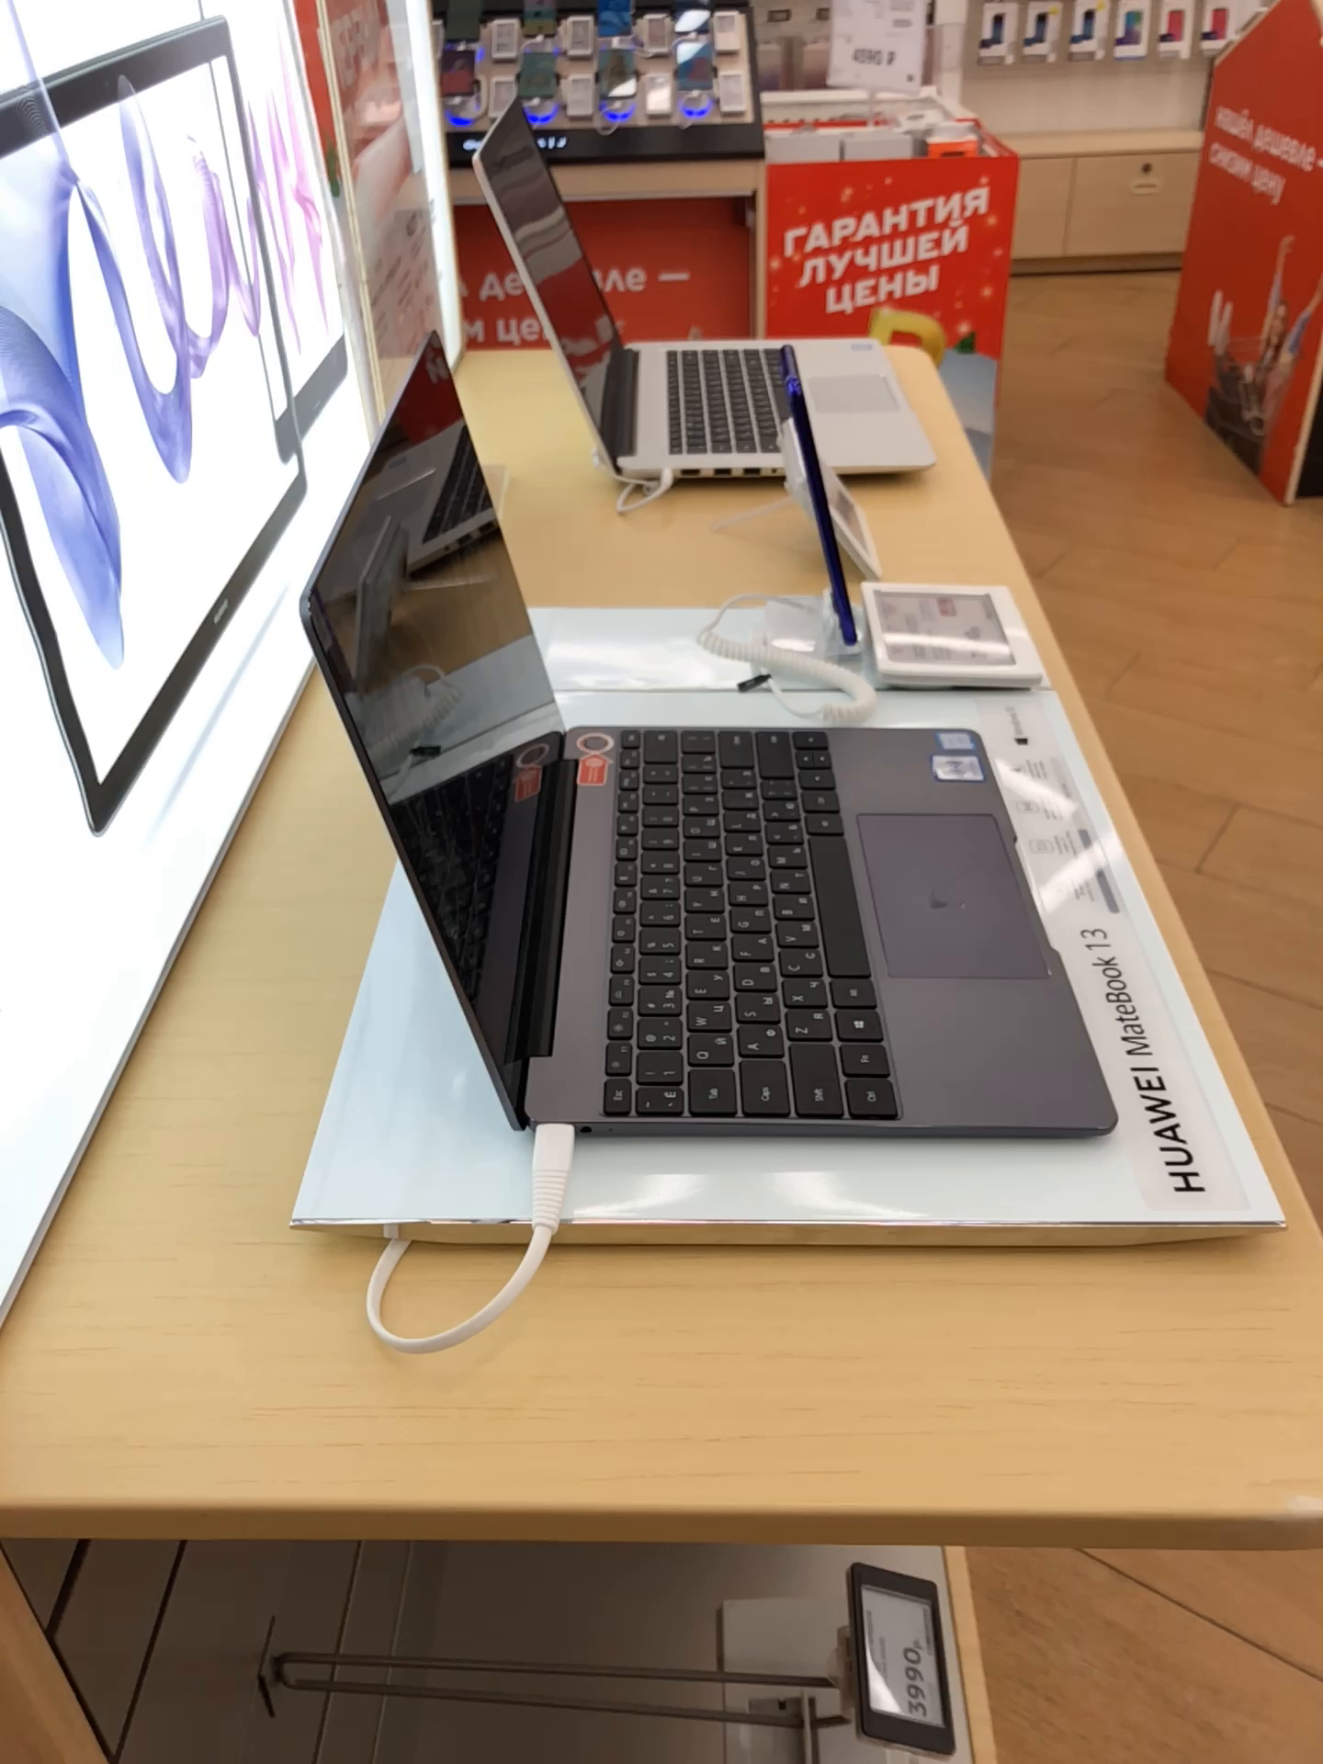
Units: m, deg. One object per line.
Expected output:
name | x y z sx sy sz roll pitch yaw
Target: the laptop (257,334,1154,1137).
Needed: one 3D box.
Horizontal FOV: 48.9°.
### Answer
laptop | 0.015 -0.073 0.563 0.244 0.192 0.276 0 35 1
